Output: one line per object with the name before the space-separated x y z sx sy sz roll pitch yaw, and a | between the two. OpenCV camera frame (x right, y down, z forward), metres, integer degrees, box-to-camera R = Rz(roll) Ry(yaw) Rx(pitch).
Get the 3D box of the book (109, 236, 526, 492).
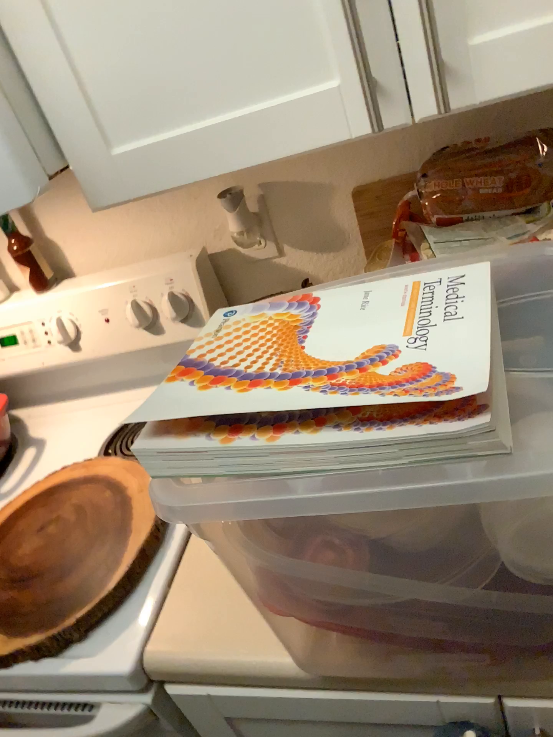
book | 0.039 -0.010 0.520 0.290 0.050 0.230 -9 33 20
